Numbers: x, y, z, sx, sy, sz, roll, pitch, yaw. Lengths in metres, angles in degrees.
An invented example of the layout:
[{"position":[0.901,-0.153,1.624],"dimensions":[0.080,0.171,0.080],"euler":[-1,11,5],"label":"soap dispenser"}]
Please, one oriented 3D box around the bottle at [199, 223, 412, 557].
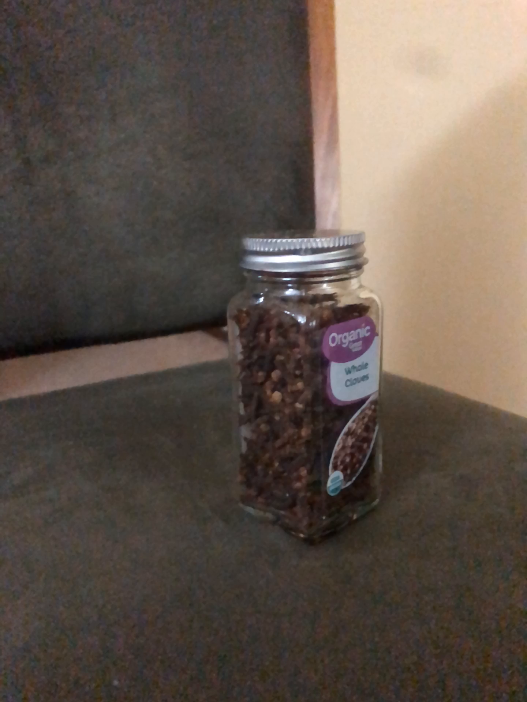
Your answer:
[{"position":[0.015,0.008,0.210],"dimensions":[0.050,0.100,0.050],"euler":[-2,16,1],"label":"bottle"}]
